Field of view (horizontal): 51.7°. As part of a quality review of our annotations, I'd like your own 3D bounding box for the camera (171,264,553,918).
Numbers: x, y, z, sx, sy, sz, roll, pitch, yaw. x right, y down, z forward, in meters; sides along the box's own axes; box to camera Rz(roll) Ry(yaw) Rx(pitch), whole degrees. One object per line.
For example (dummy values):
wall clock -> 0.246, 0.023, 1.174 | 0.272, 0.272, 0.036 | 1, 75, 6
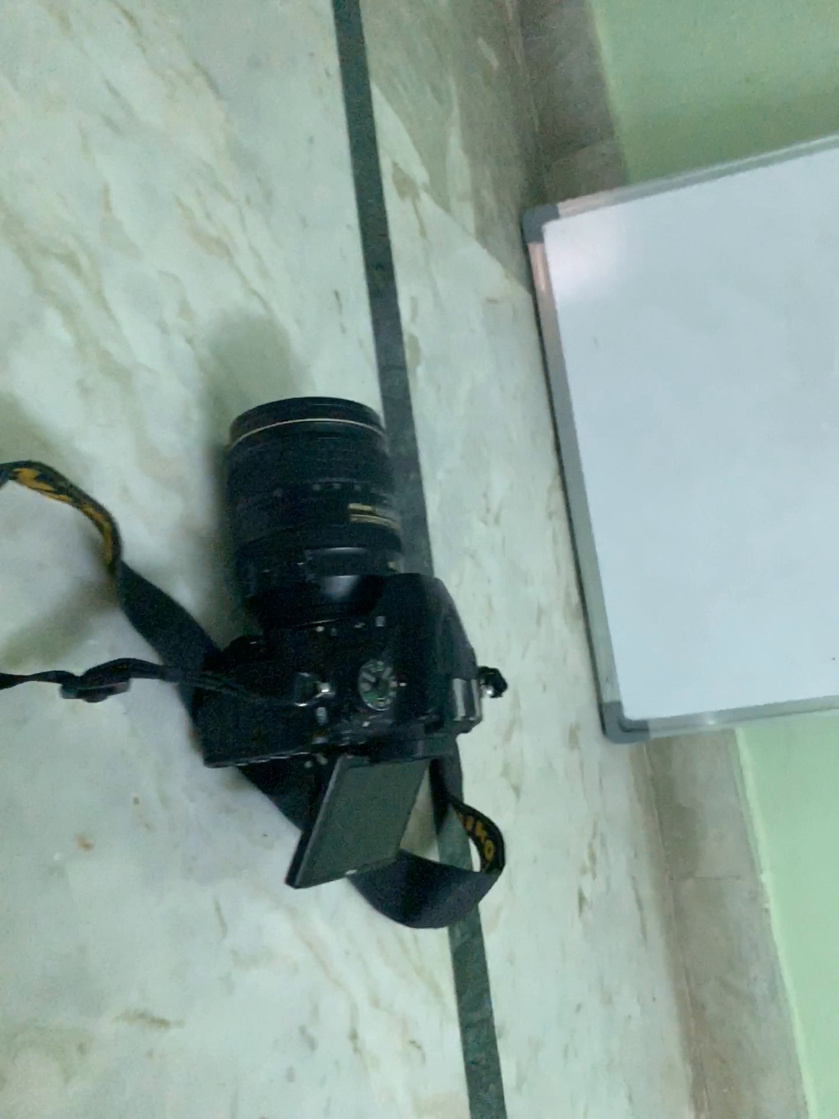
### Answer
camera -> -0.026, 0.022, 0.421 | 0.147, 0.099, 0.258 | 18, 63, -59
